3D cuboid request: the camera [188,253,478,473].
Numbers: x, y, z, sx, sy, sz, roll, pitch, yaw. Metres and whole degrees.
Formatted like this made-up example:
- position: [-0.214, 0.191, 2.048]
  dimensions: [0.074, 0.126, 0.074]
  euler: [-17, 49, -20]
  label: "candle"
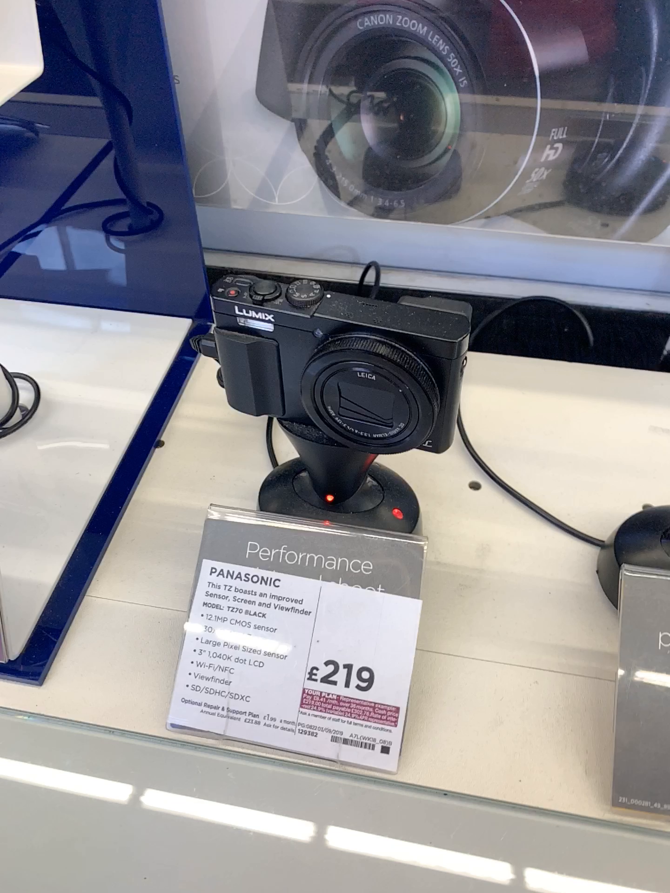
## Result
- position: [-0.001, -0.035, 0.296]
  dimensions: [0.110, 0.069, 0.030]
  euler: [13, 48, 13]
  label: "camera"
